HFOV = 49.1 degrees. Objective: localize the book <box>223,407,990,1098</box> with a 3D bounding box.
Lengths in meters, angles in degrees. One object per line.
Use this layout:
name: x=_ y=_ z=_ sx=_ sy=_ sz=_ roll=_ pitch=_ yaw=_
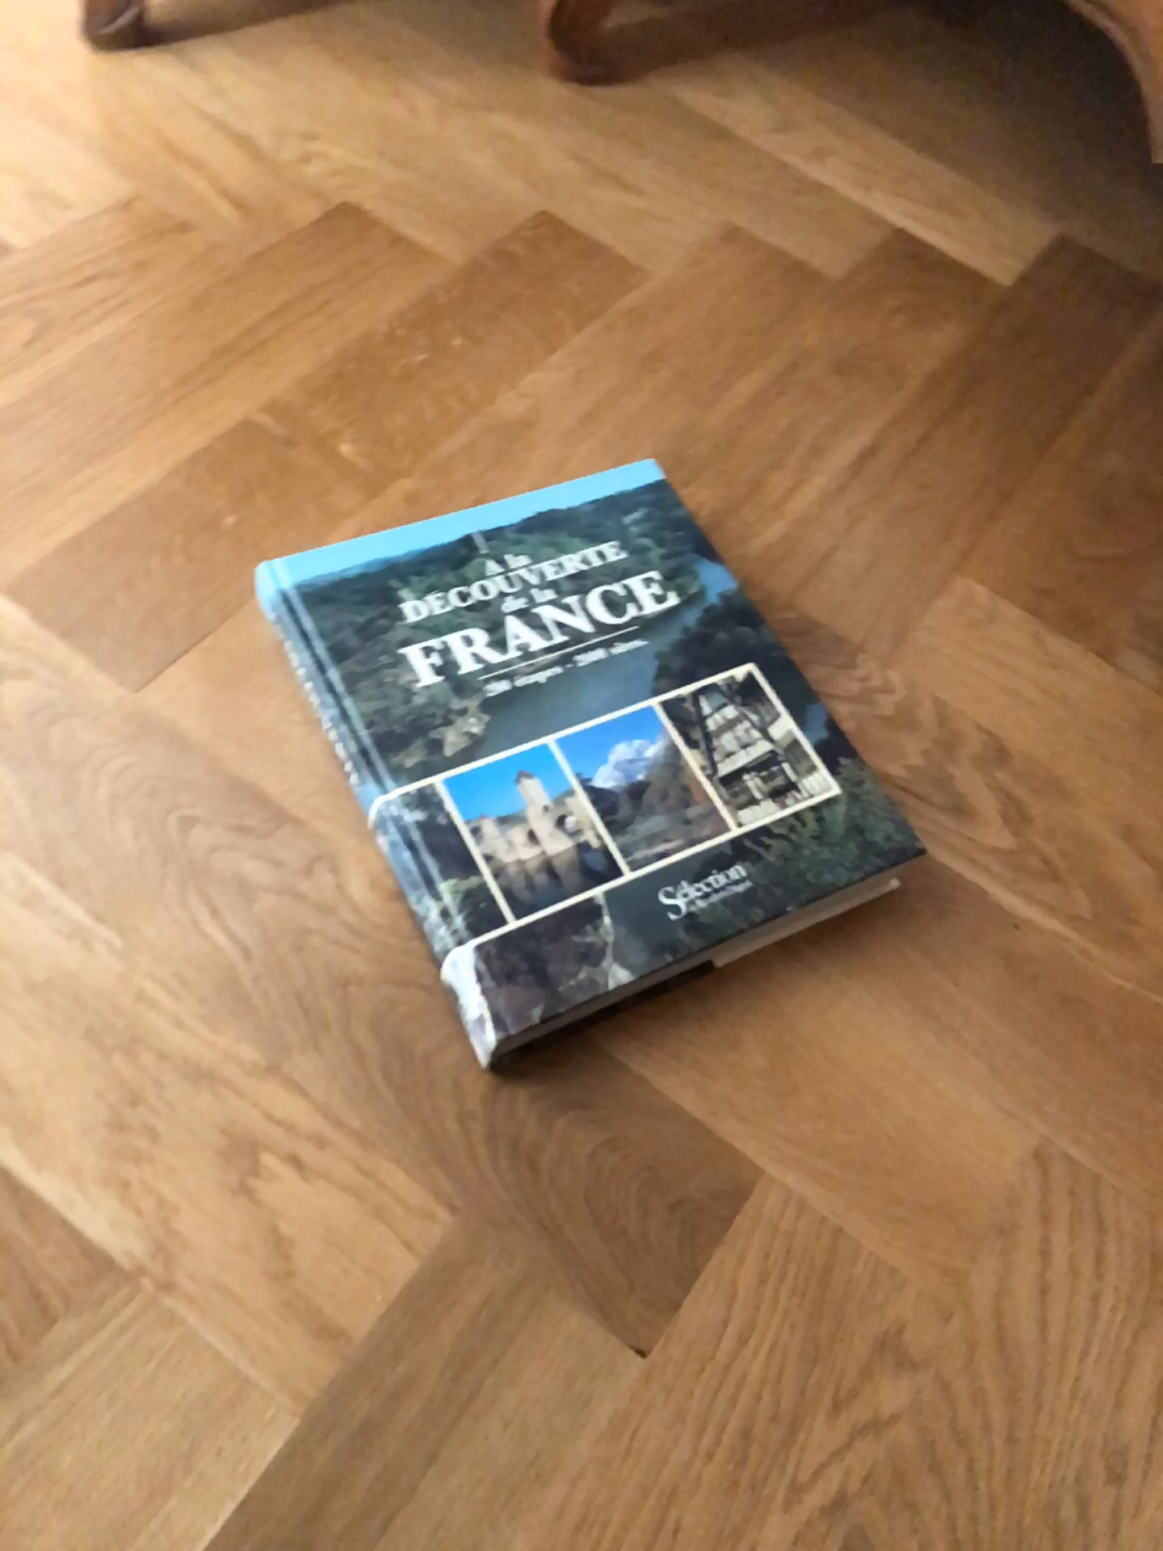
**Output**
book: x=0.005 y=-0.035 z=0.602 sx=0.251 sy=0.040 sz=0.290 roll=-20 pitch=64 yaw=-22
